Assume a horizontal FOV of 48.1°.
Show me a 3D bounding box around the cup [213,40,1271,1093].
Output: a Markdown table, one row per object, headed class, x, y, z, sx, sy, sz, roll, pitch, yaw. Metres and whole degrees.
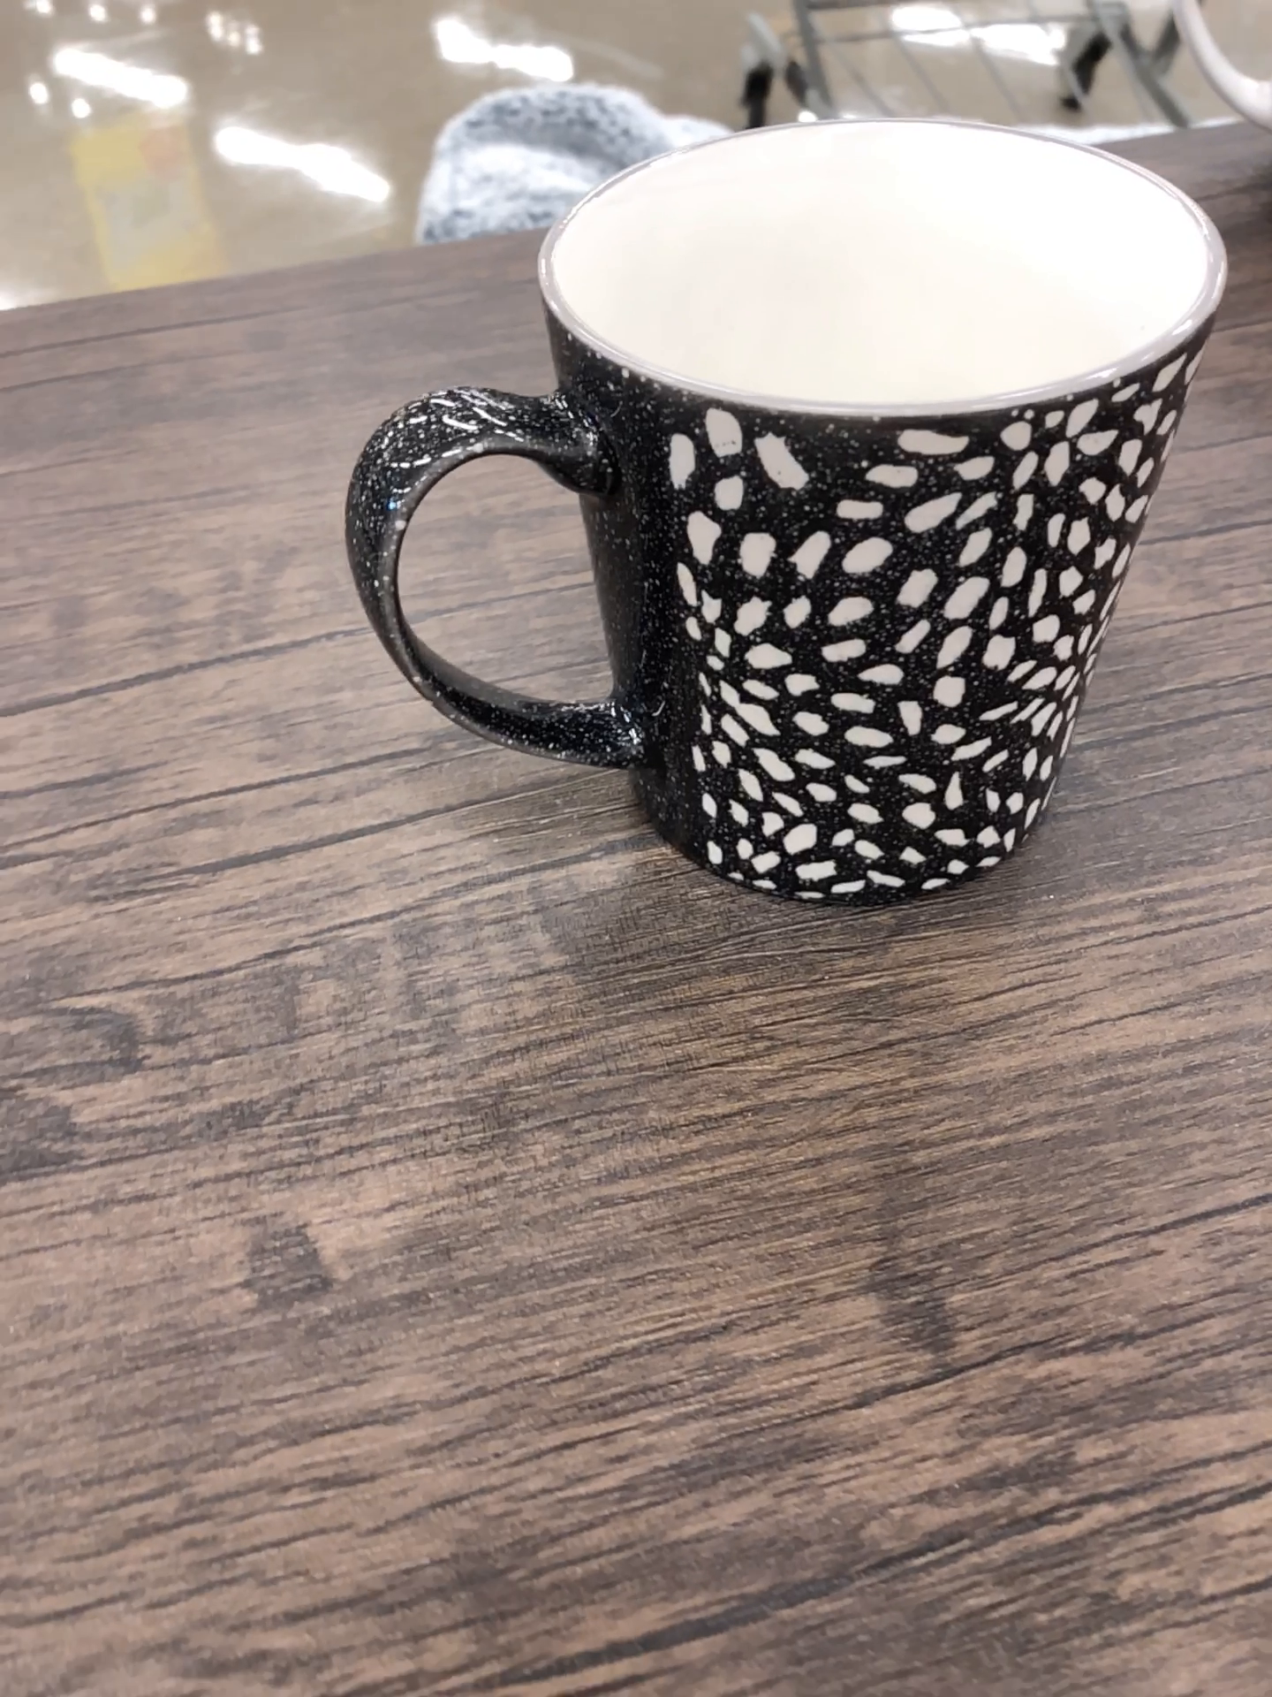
| class | x | y | z | sx | sy | sz | roll | pitch | yaw |
| --- | --- | --- | --- | --- | --- | --- | --- | --- | --- |
| cup | 0.023 | -0.051 | 0.232 | 0.140 | 0.100 | 0.100 | -18 | 47 | -13 |
